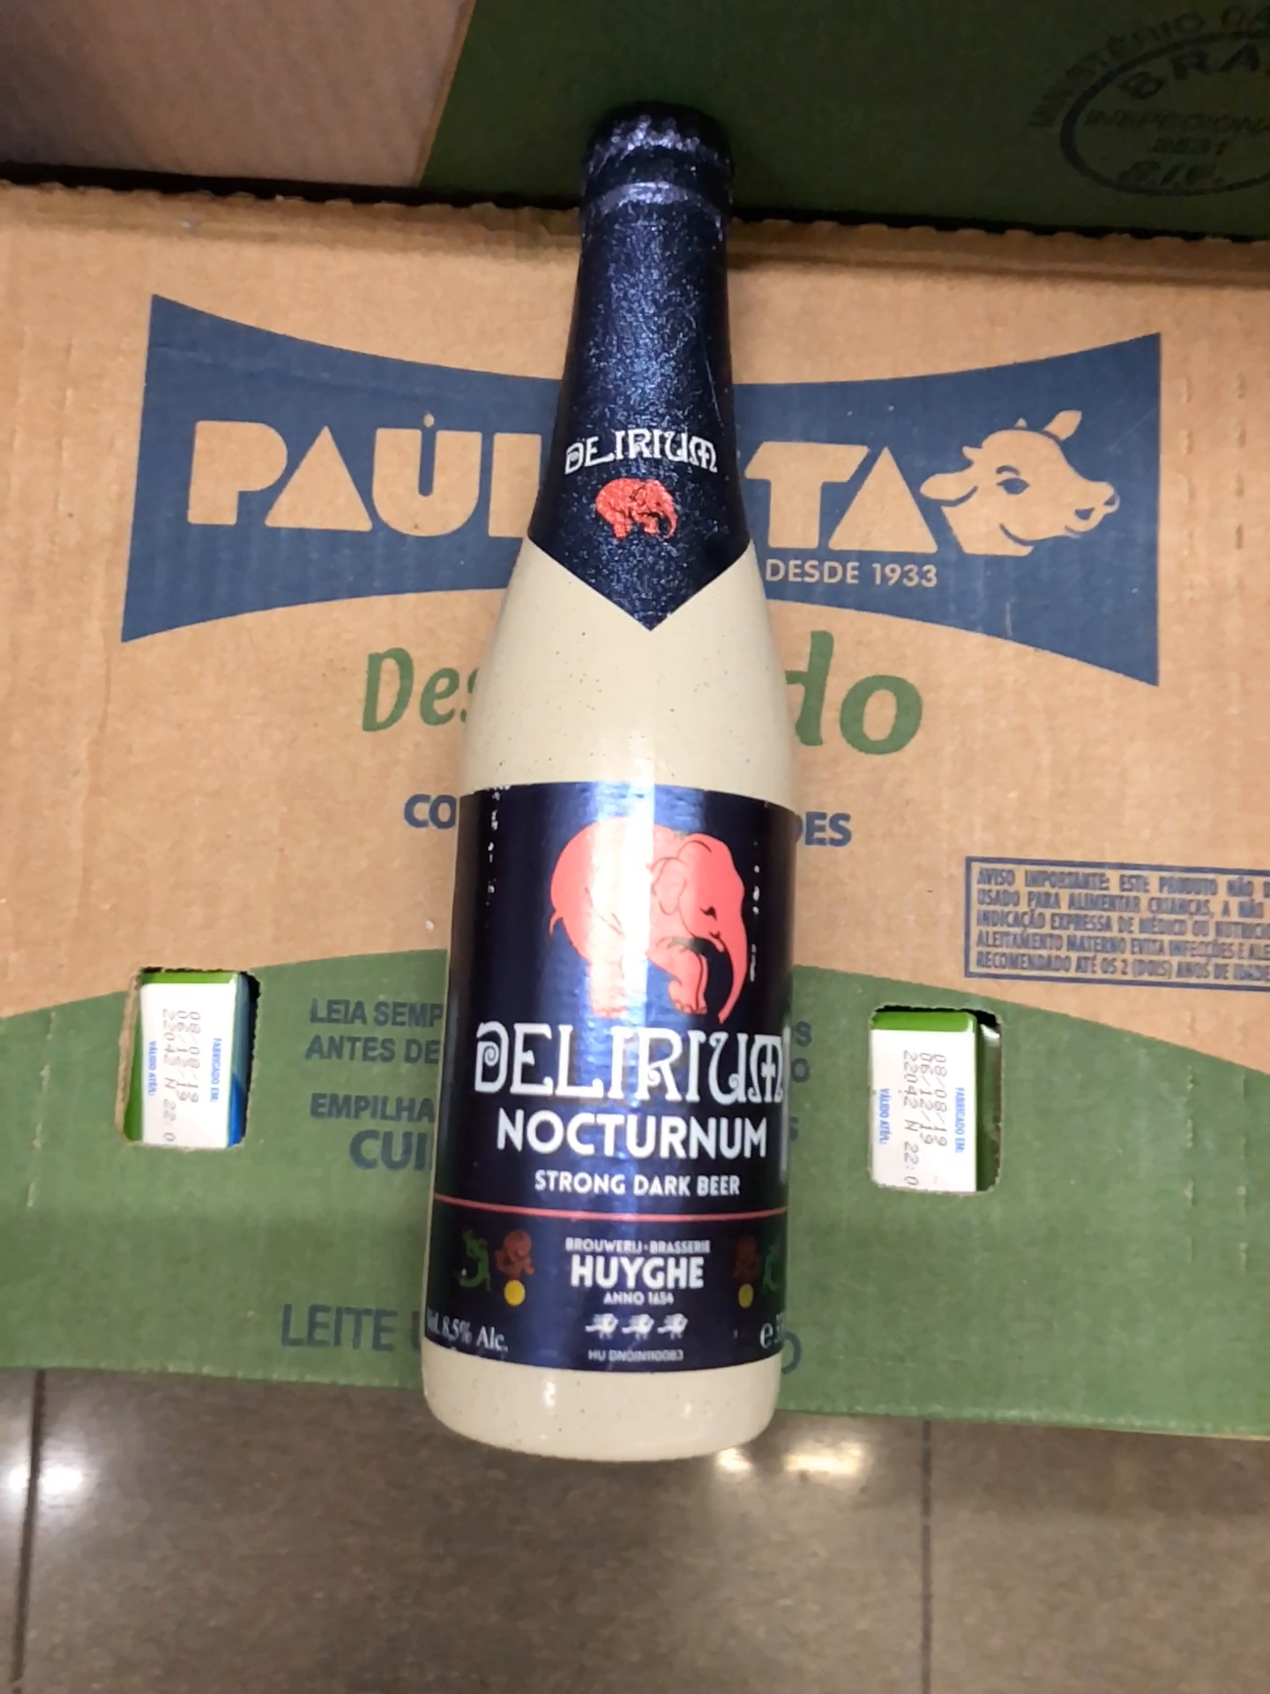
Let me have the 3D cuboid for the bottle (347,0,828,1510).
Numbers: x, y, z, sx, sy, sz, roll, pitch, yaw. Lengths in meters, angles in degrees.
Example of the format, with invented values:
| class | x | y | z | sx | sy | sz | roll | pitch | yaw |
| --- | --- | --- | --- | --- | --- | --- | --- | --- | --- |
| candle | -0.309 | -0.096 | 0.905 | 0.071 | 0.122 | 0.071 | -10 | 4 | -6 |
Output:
| class | x | y | z | sx | sy | sz | roll | pitch | yaw |
| --- | --- | --- | --- | --- | --- | --- | --- | --- | --- |
| bottle | -0.004 | -0.031 | 0.237 | 0.060 | 0.050 | 0.250 | 3 | 81 | 0 |
